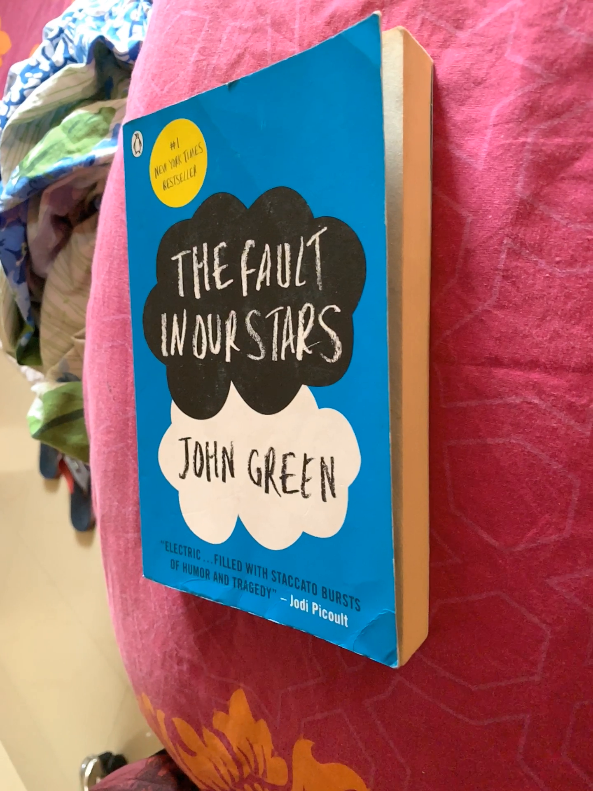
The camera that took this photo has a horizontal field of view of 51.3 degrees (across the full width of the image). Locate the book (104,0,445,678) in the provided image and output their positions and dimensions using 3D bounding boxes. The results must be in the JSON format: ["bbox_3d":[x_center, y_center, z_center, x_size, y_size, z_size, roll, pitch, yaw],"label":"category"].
[{"bbox_3d":[-0.016,-0.016,0.215,0.130,0.030,0.179,1,91,39],"label":"book"}]
